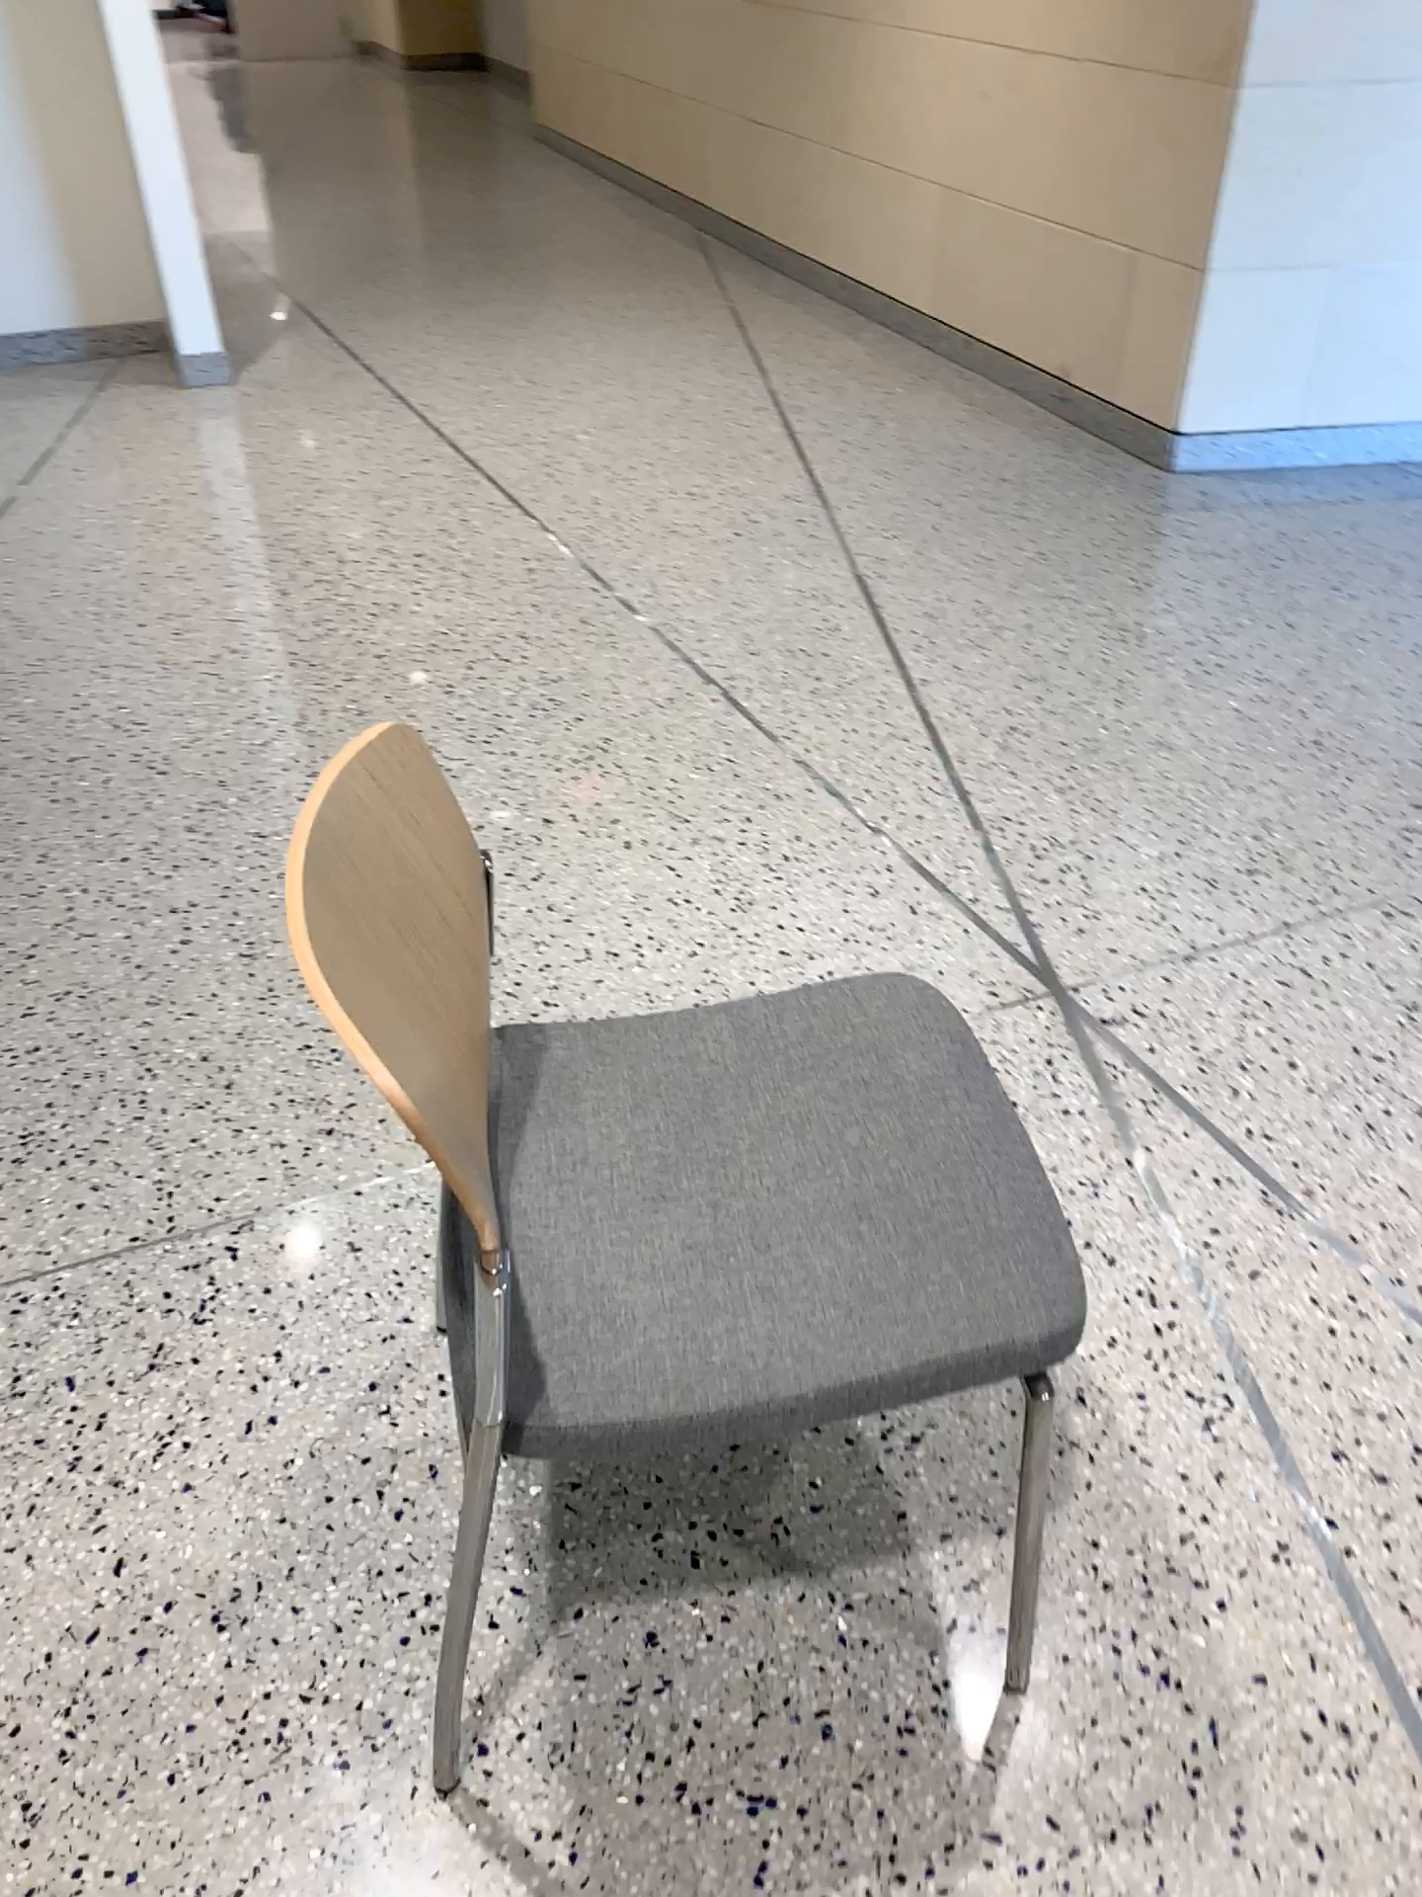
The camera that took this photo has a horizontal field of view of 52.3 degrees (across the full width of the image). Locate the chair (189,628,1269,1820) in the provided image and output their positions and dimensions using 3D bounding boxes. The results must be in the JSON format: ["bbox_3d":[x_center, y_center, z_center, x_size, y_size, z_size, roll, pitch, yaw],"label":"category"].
[{"bbox_3d":[-0.014,0.224,1.224,0.591,0.768,0.542,-6,37,-7],"label":"chair"}]
